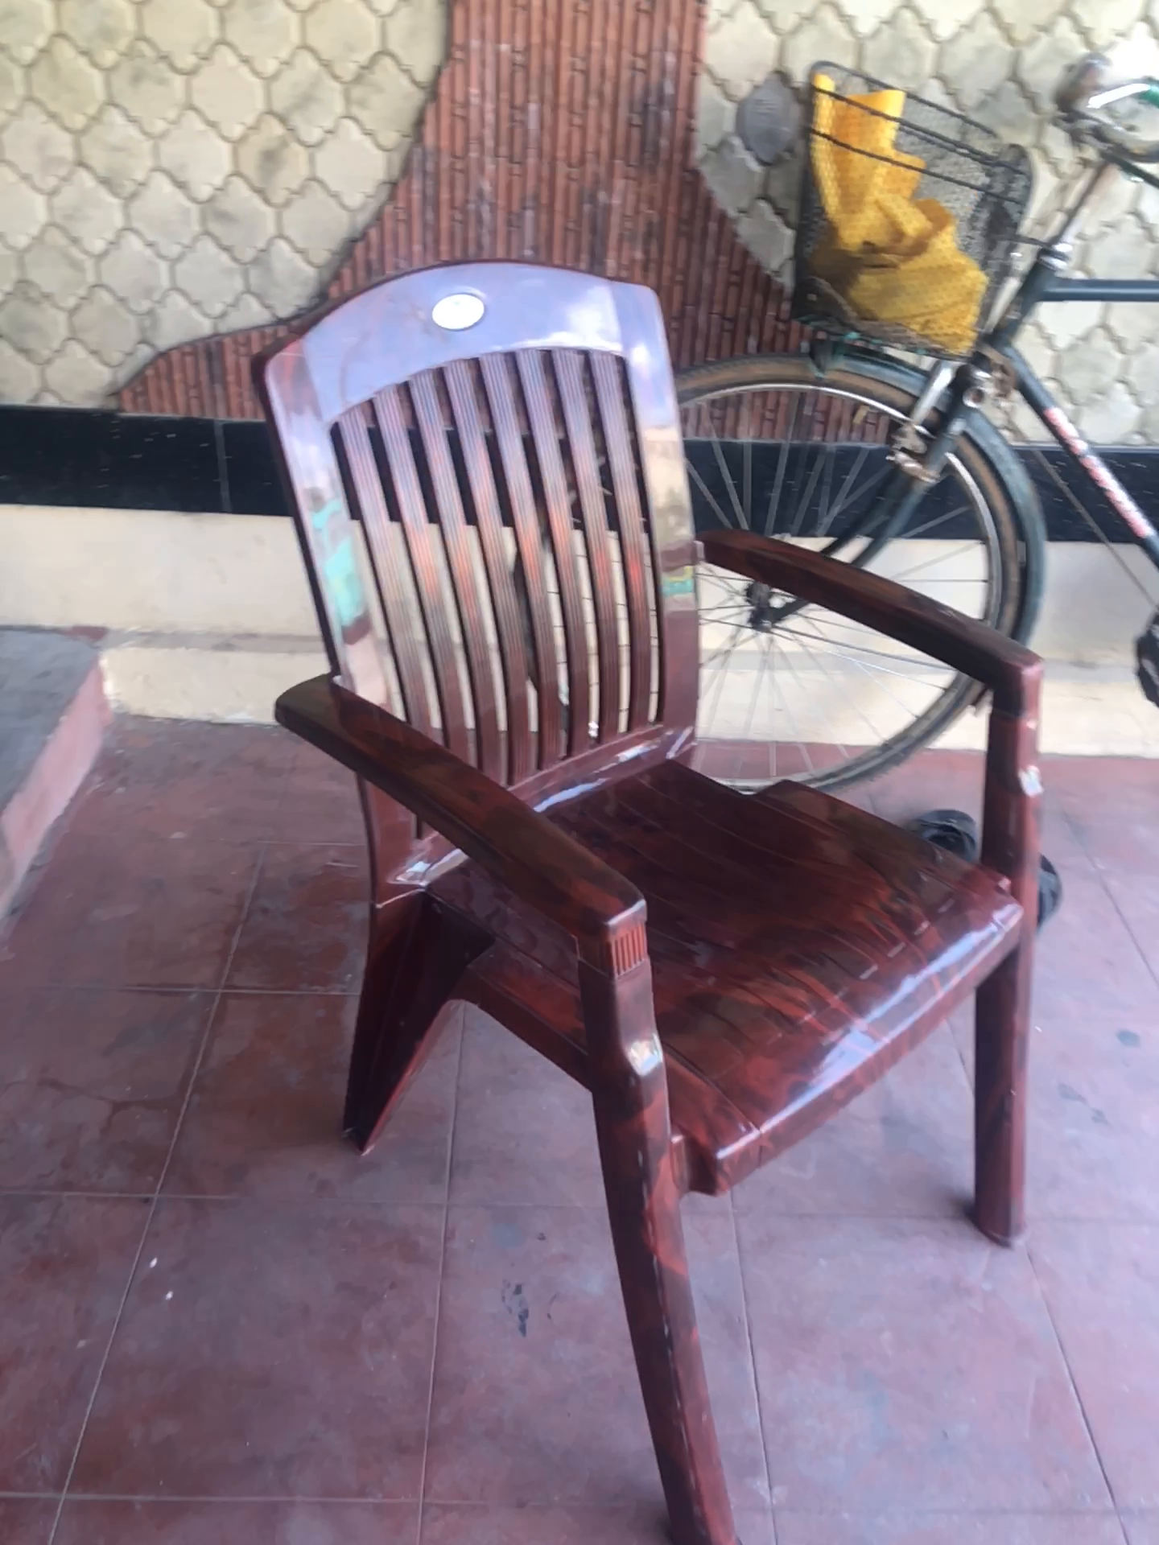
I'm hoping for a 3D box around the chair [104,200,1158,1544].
[{"bbox_3d":[0.099,0.050,1.096,0.593,0.845,0.701,-25,43,-35],"label":"chair"}]
